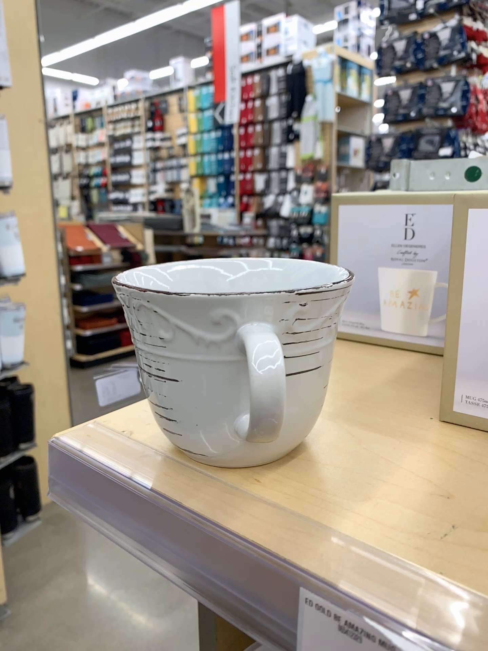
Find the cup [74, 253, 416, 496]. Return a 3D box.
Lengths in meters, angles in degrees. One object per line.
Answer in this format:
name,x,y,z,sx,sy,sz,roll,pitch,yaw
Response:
cup,-0.001,0.009,0.236,0.113,0.075,0.125,-1,12,0
